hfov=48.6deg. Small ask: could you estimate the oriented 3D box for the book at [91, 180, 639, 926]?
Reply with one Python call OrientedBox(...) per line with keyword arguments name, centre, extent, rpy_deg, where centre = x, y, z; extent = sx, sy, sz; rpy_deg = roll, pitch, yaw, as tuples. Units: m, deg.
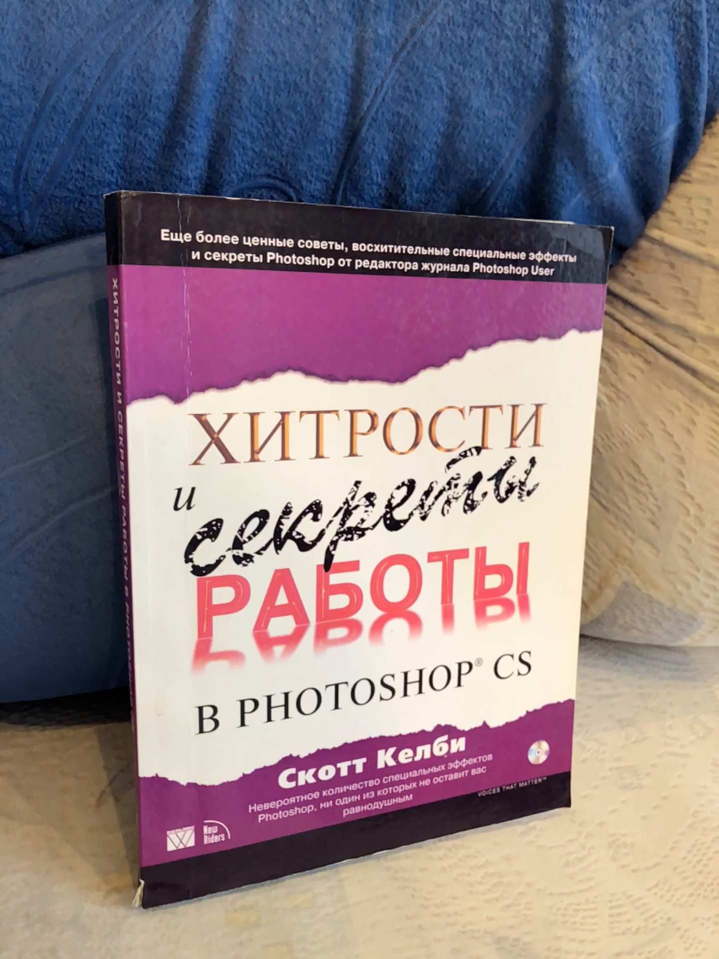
OrientedBox(name="book", centre=(0.007, 0.029, 0.327), extent=(0.209, 0.271, 0.030), rpy_deg=(-4, 14, -21))
